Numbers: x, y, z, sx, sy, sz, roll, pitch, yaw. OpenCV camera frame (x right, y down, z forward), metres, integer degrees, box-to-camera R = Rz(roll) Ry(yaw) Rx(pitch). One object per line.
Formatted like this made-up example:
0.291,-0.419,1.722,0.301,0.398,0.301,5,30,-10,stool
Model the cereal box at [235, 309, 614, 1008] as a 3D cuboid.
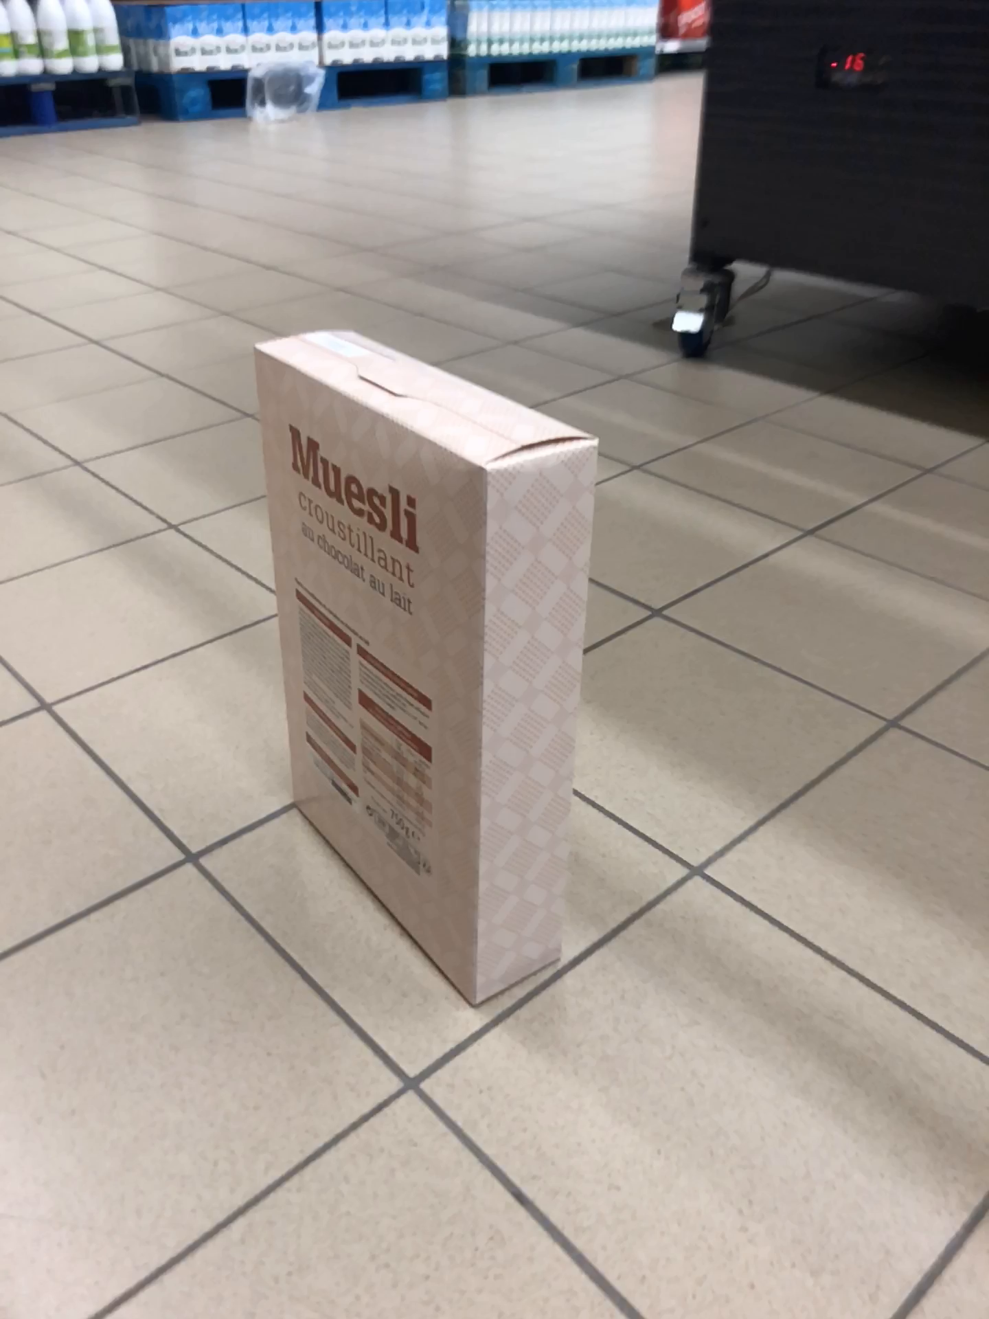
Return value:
-0.043,-0.007,0.518,0.060,0.268,0.200,-18,35,-31,cereal box
